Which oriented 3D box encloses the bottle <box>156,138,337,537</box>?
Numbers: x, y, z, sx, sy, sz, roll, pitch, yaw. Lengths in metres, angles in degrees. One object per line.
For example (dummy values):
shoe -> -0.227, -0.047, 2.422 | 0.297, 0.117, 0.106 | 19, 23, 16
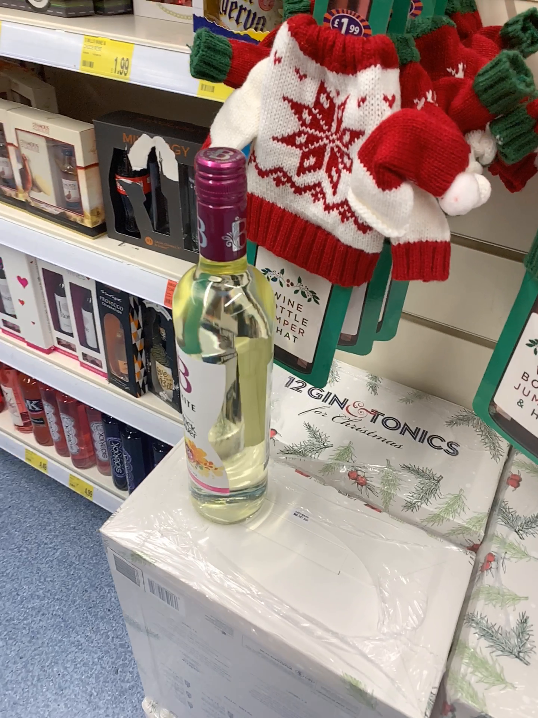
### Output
bottle -> -0.024, 0.000, 0.407 | 0.080, 0.288, 0.082 | 3, 38, -2
